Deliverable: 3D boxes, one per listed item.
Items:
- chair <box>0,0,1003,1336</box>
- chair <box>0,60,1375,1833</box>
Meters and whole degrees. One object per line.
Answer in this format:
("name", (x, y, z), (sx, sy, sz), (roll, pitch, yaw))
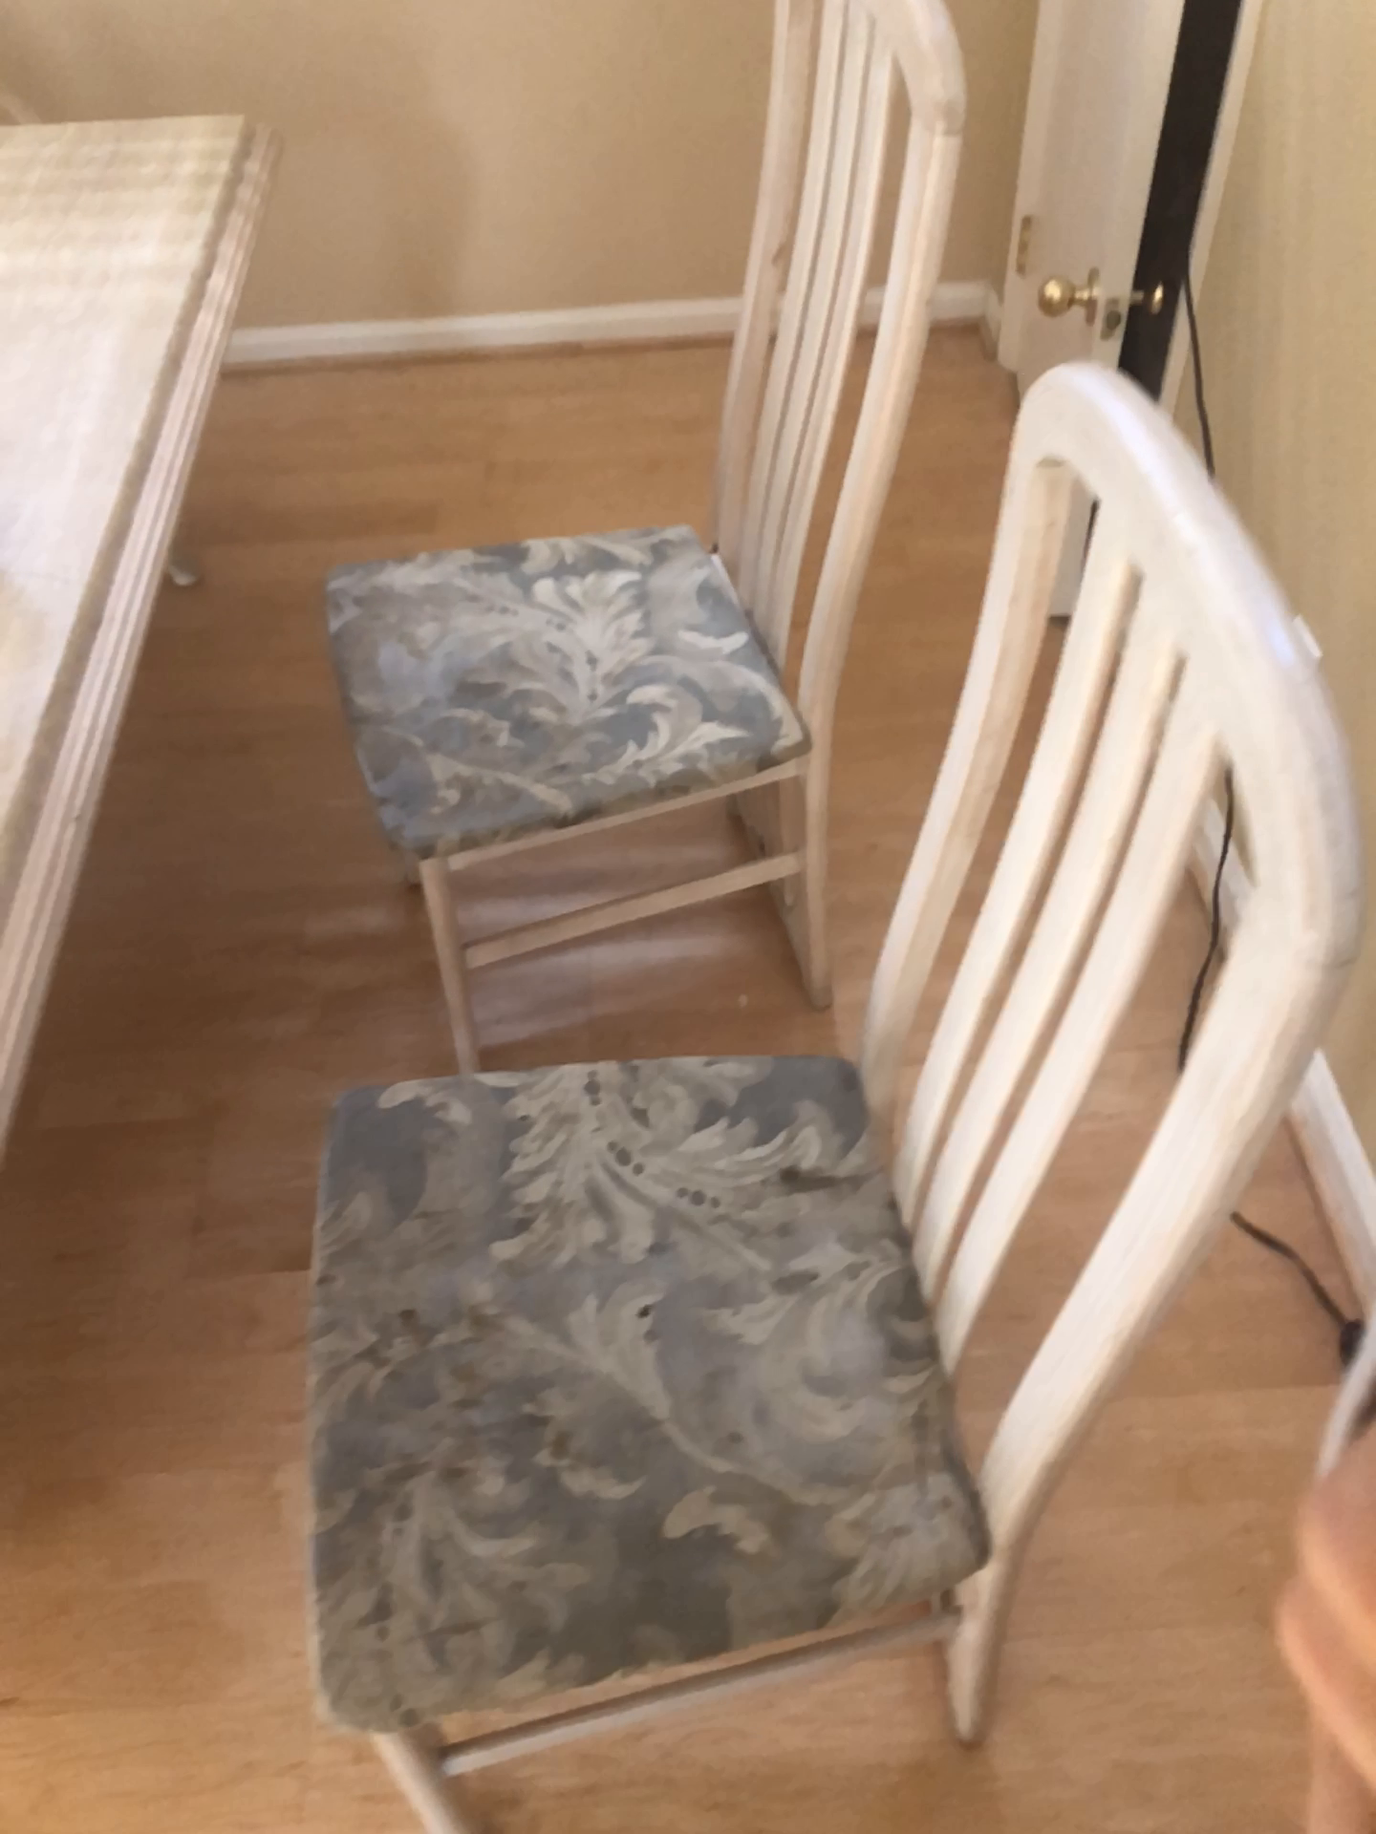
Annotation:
("chair", (-0.118, -0.159, 1.387), (0.560, 1.141, 0.483), (-11, 48, -6))
("chair", (-0.071, 0.194, 0.941), (0.560, 1.141, 0.484), (-6, 48, -4))
